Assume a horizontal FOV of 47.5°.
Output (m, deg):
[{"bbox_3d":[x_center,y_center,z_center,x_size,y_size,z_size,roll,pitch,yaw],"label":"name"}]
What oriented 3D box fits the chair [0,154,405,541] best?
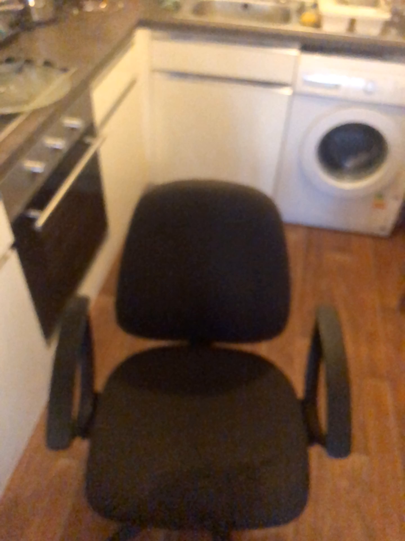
[{"bbox_3d":[-0.005,0.280,1.197,0.685,0.756,0.879,4,43,0],"label":"chair"}]
